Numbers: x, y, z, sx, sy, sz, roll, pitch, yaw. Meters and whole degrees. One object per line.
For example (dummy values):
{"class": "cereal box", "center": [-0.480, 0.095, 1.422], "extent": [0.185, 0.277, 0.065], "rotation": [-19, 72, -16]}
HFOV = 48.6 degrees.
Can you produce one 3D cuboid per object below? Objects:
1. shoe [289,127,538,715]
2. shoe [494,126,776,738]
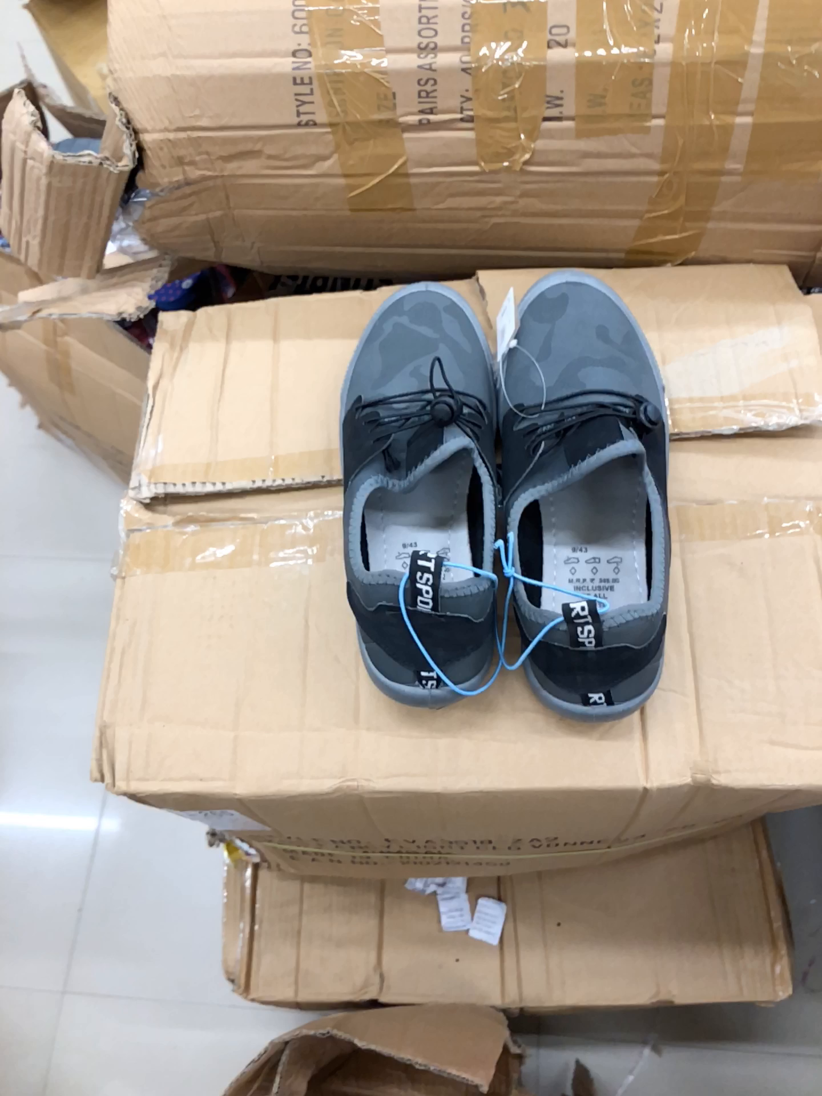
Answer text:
{"class": "shoe", "center": [0.004, -0.072, 0.532], "extent": [0.110, 0.150, 0.301], "rotation": [-4, 65, 4]}
{"class": "shoe", "center": [0.102, -0.063, 0.489], "extent": [0.110, 0.130, 0.301], "rotation": [-1, 65, 6]}
